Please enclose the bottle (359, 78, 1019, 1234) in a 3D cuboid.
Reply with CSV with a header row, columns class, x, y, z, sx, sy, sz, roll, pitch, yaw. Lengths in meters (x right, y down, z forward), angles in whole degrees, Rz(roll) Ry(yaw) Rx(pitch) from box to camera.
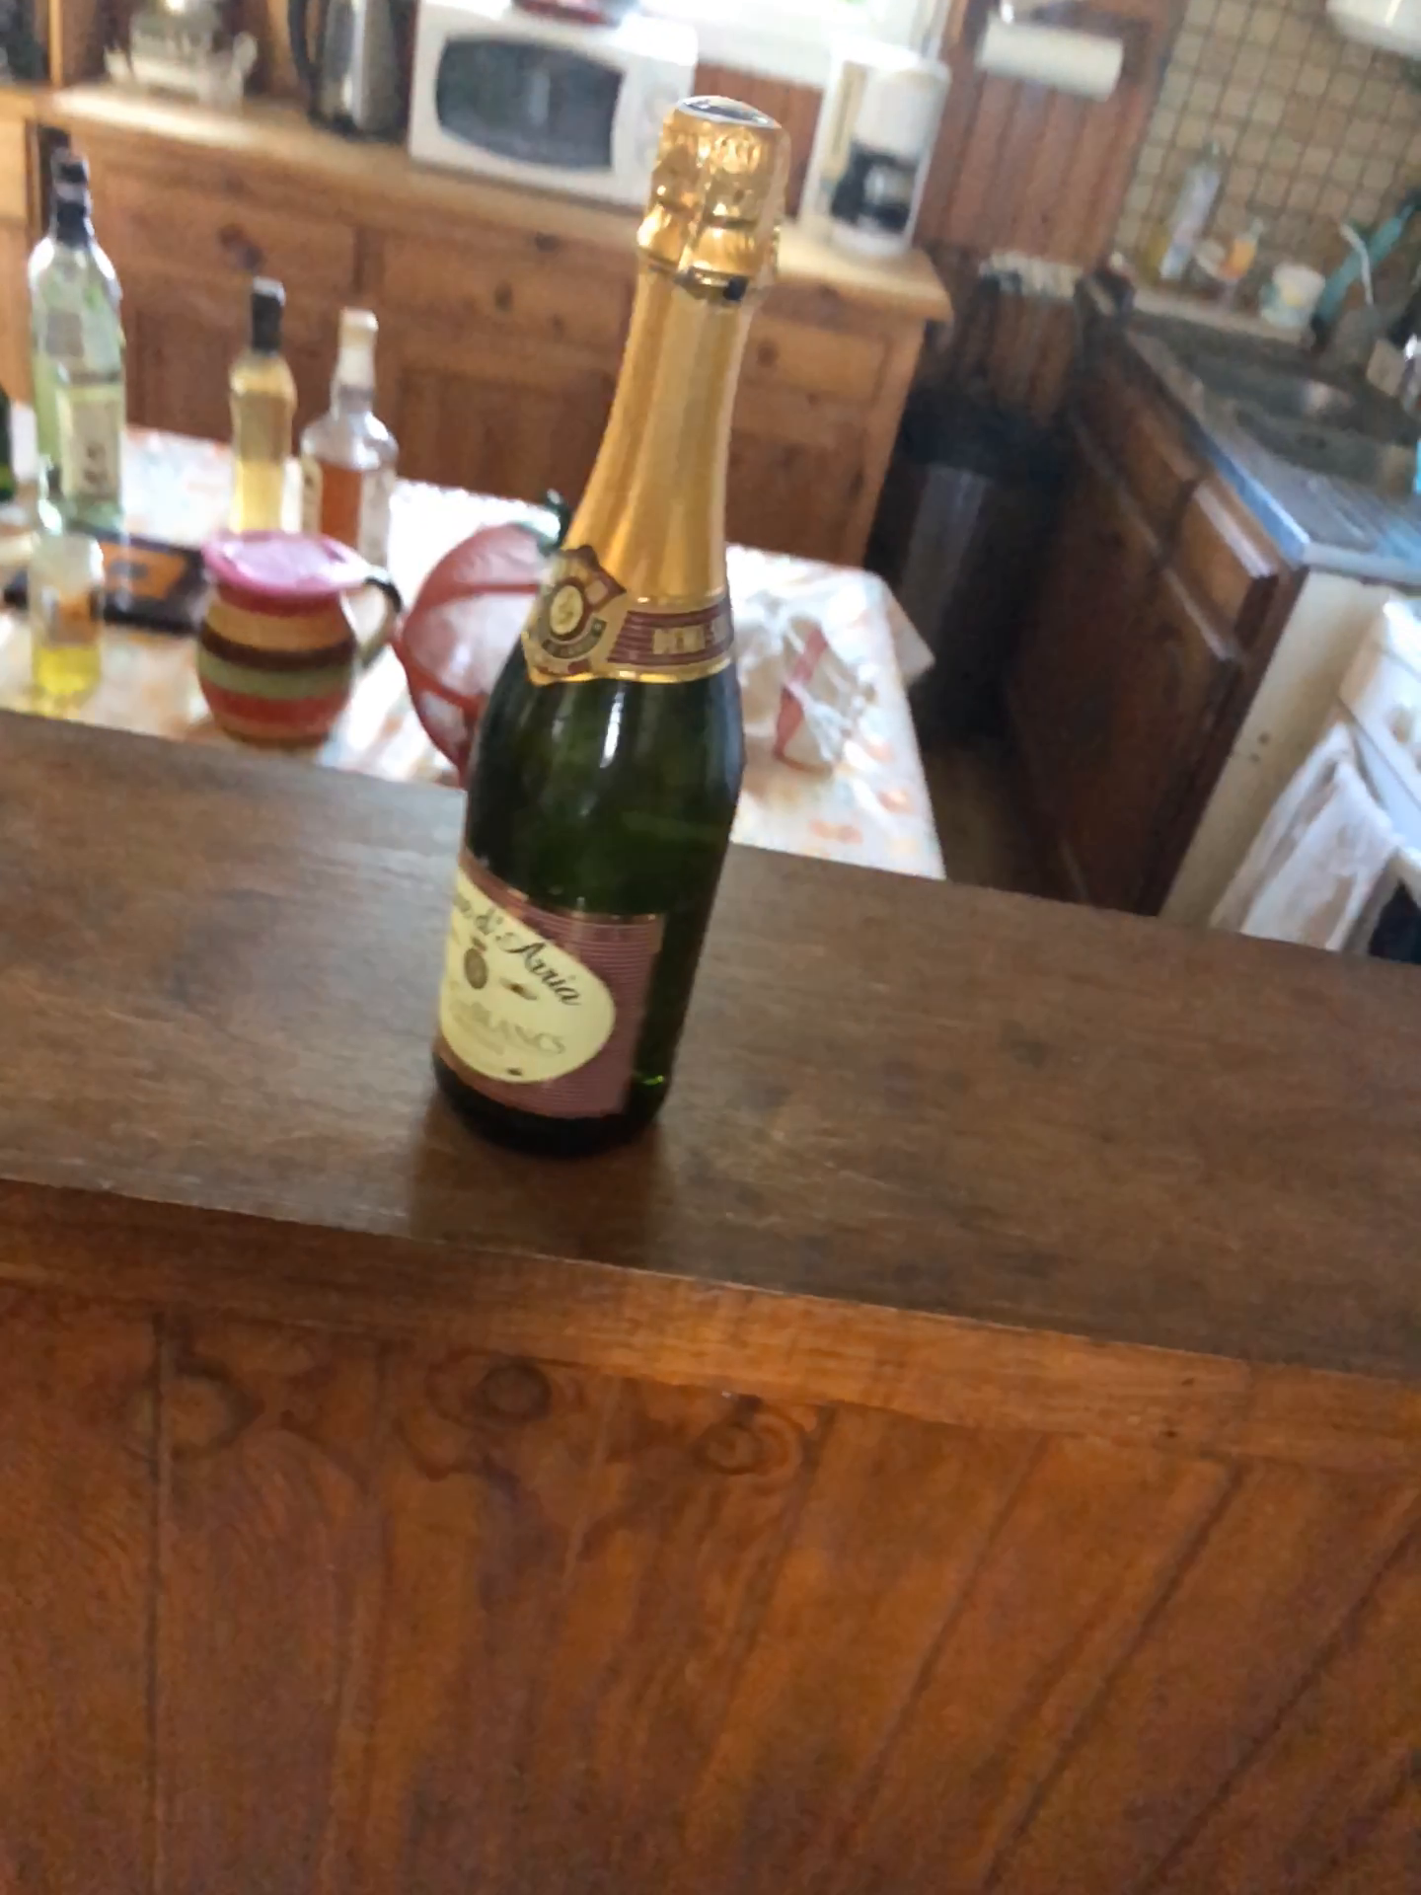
class,x,y,z,sx,sy,sz,roll,pitch,yaw
bottle,-0.023,-0.068,0.452,0.100,0.298,0.090,-15,44,-36
